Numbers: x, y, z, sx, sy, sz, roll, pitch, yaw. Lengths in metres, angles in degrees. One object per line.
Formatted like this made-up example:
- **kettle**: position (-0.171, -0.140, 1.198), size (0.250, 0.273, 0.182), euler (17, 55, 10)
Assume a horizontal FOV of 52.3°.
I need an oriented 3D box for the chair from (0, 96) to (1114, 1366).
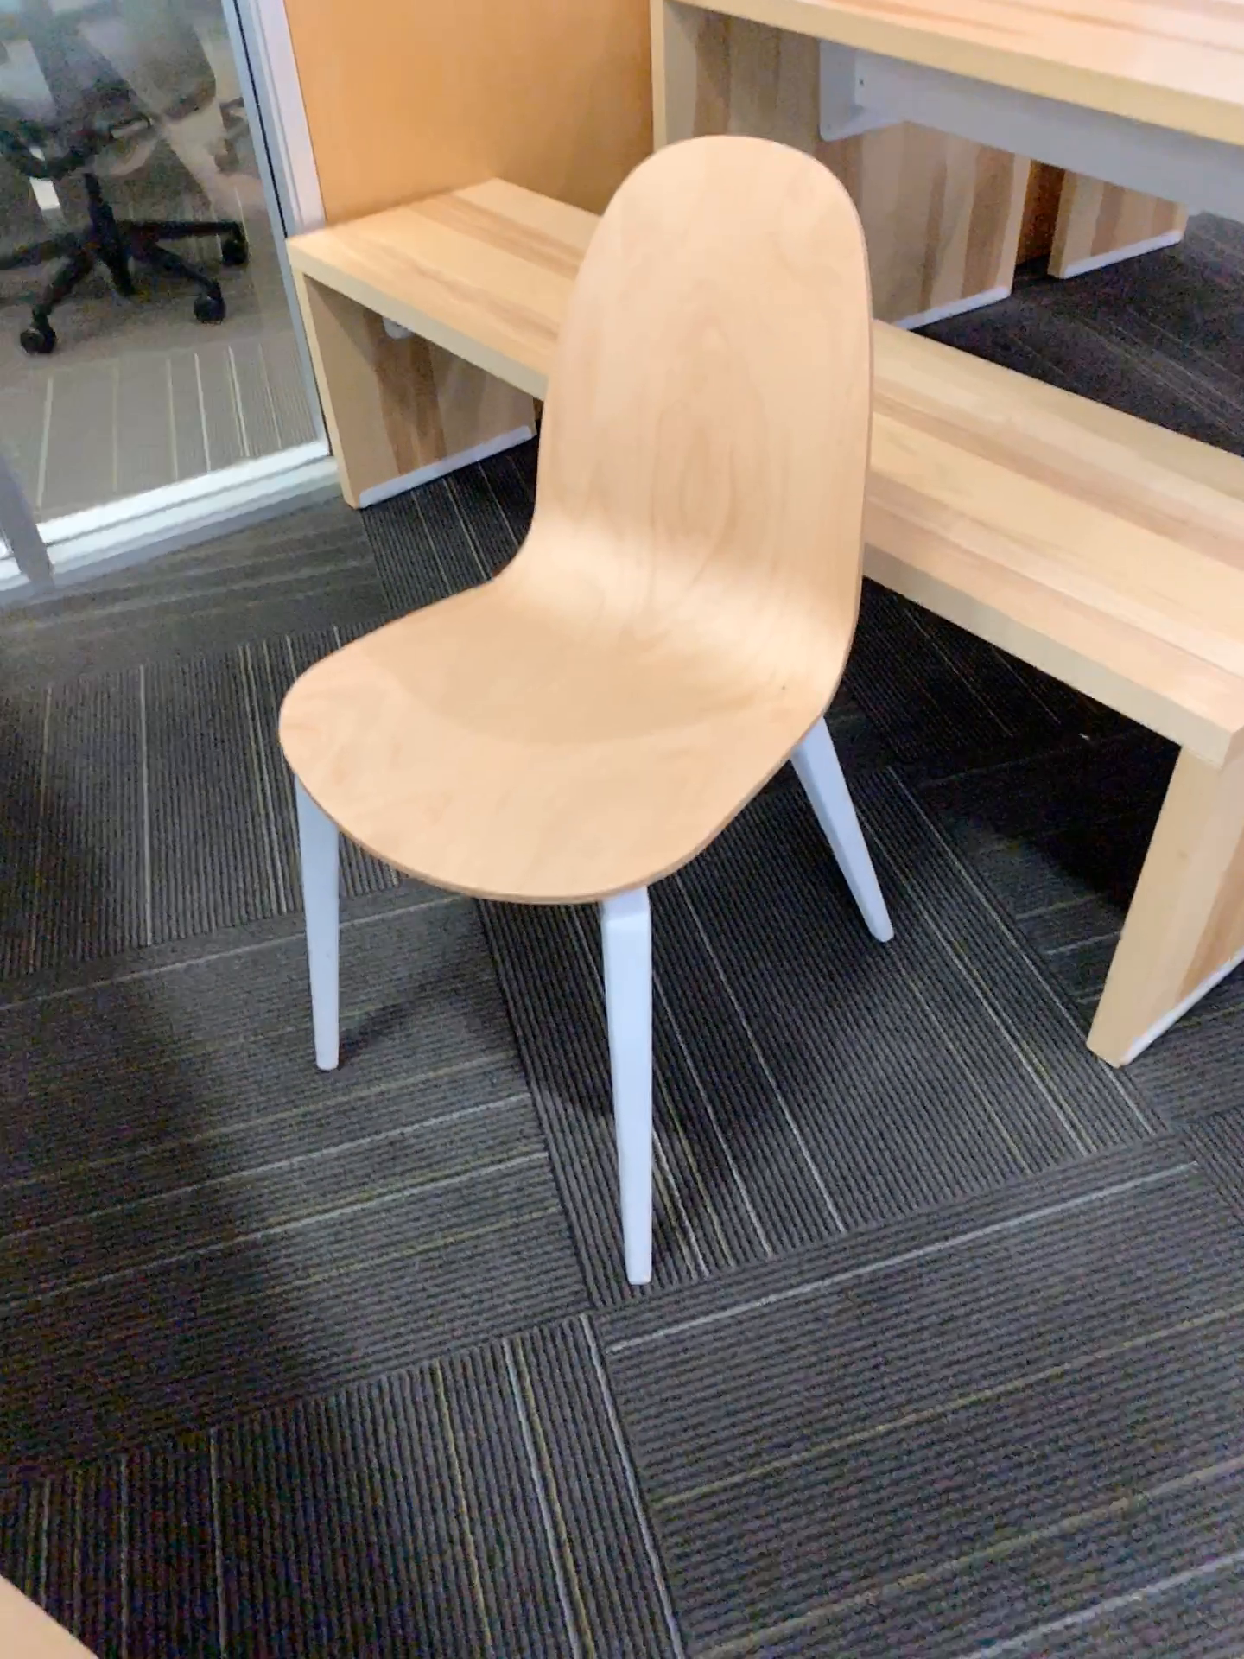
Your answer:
- **chair**: position (-0.012, -0.111, 1.116), size (0.522, 0.766, 0.652), euler (22, 49, 26)
